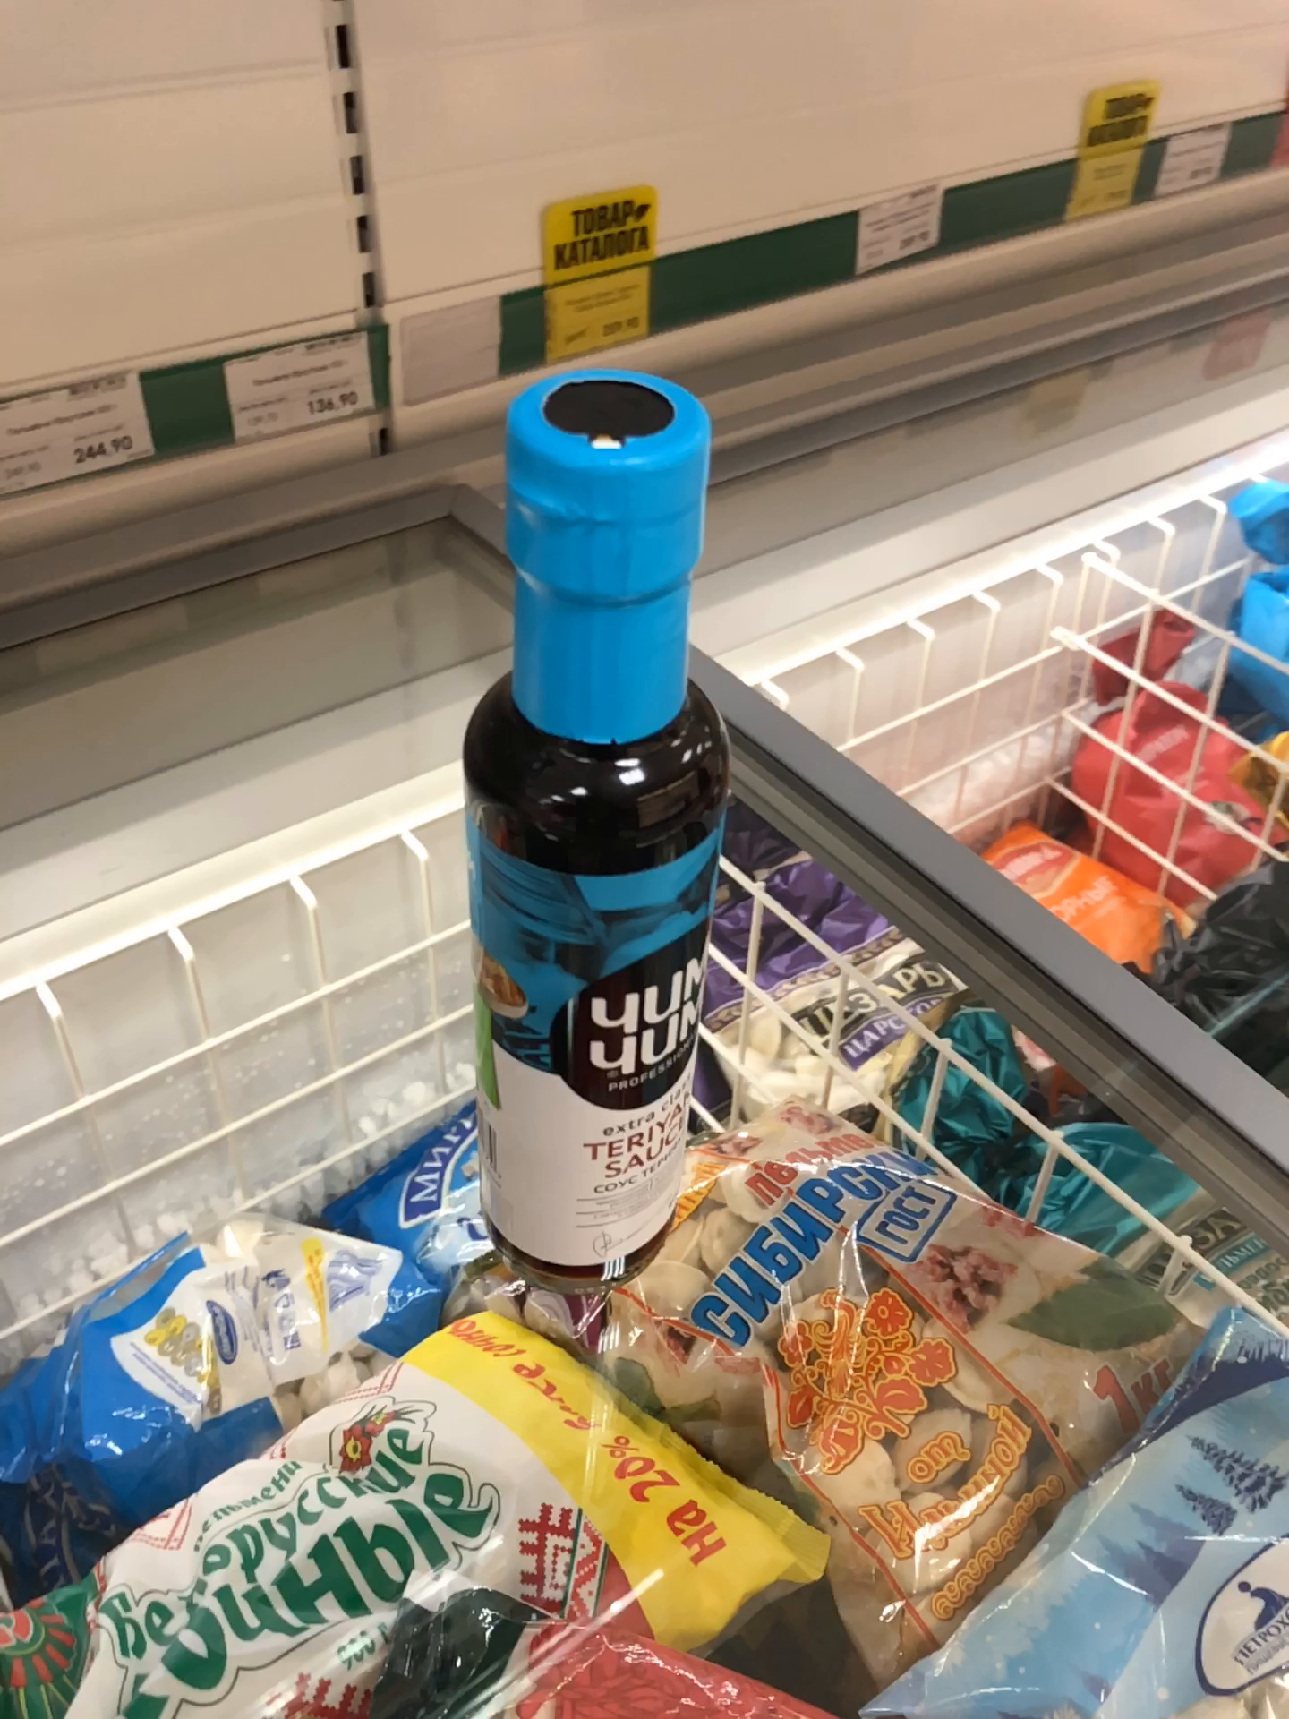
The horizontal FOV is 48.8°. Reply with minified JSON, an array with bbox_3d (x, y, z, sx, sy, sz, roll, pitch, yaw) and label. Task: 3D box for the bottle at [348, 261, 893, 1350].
[{"bbox_3d":[-0.010,0.004,0.292,0.060,0.219,0.060,2,41,-2],"label":"bottle"}]
